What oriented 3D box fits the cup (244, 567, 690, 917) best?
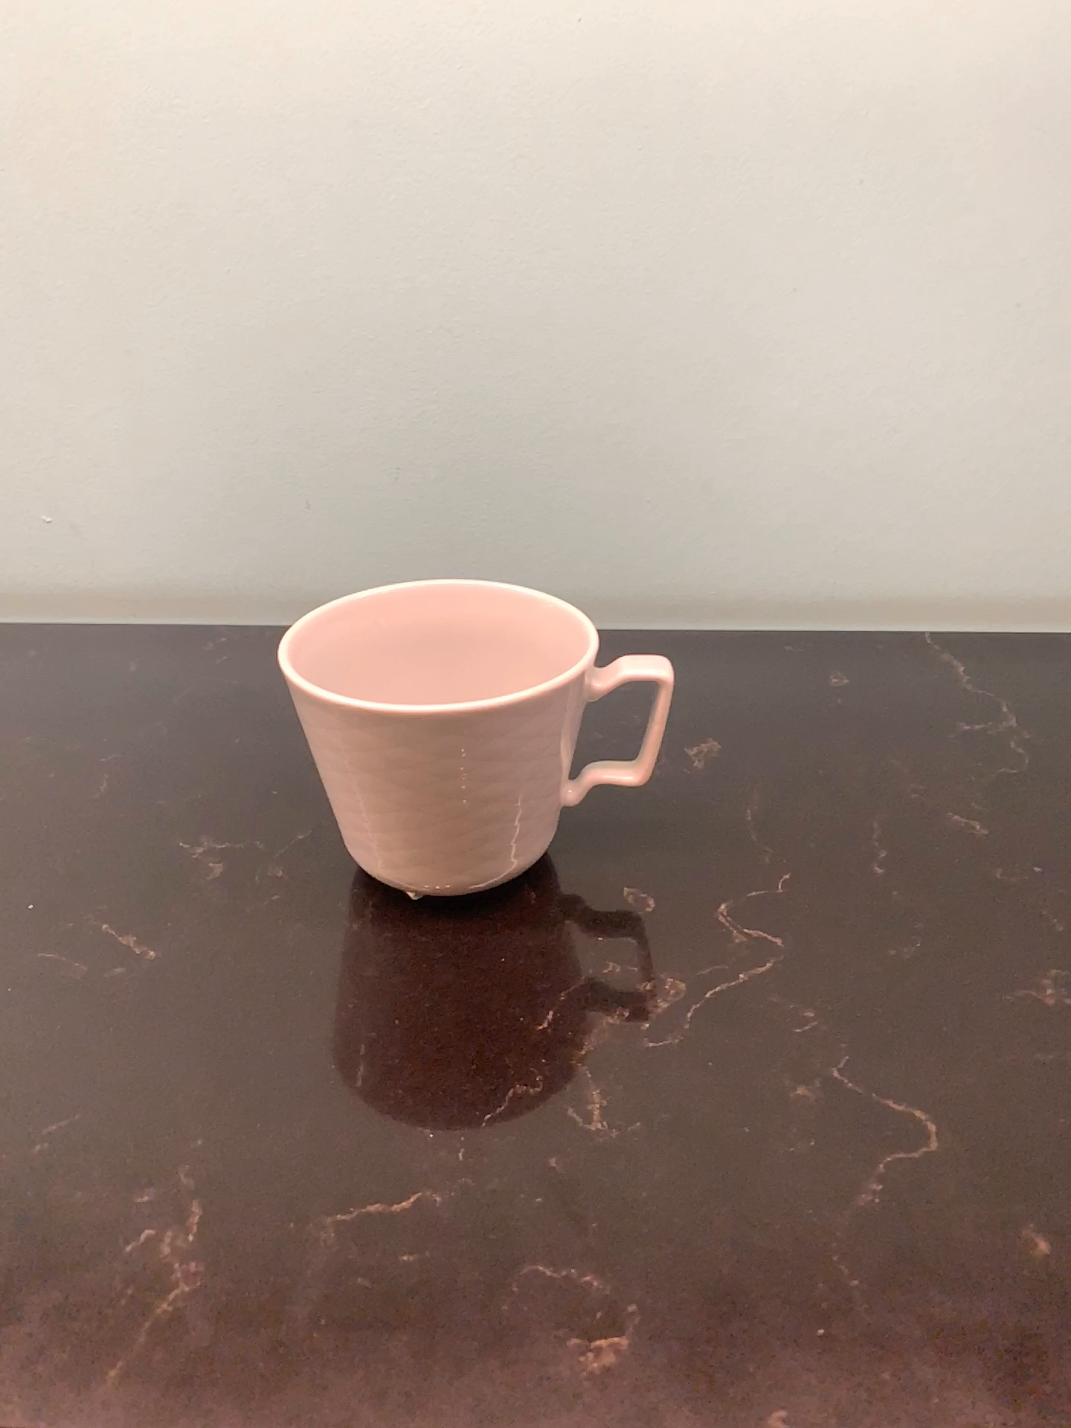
[{"bbox_3d":[-0.018,0.005,0.383,0.130,0.080,0.100,1,29,3],"label":"cup"}]
